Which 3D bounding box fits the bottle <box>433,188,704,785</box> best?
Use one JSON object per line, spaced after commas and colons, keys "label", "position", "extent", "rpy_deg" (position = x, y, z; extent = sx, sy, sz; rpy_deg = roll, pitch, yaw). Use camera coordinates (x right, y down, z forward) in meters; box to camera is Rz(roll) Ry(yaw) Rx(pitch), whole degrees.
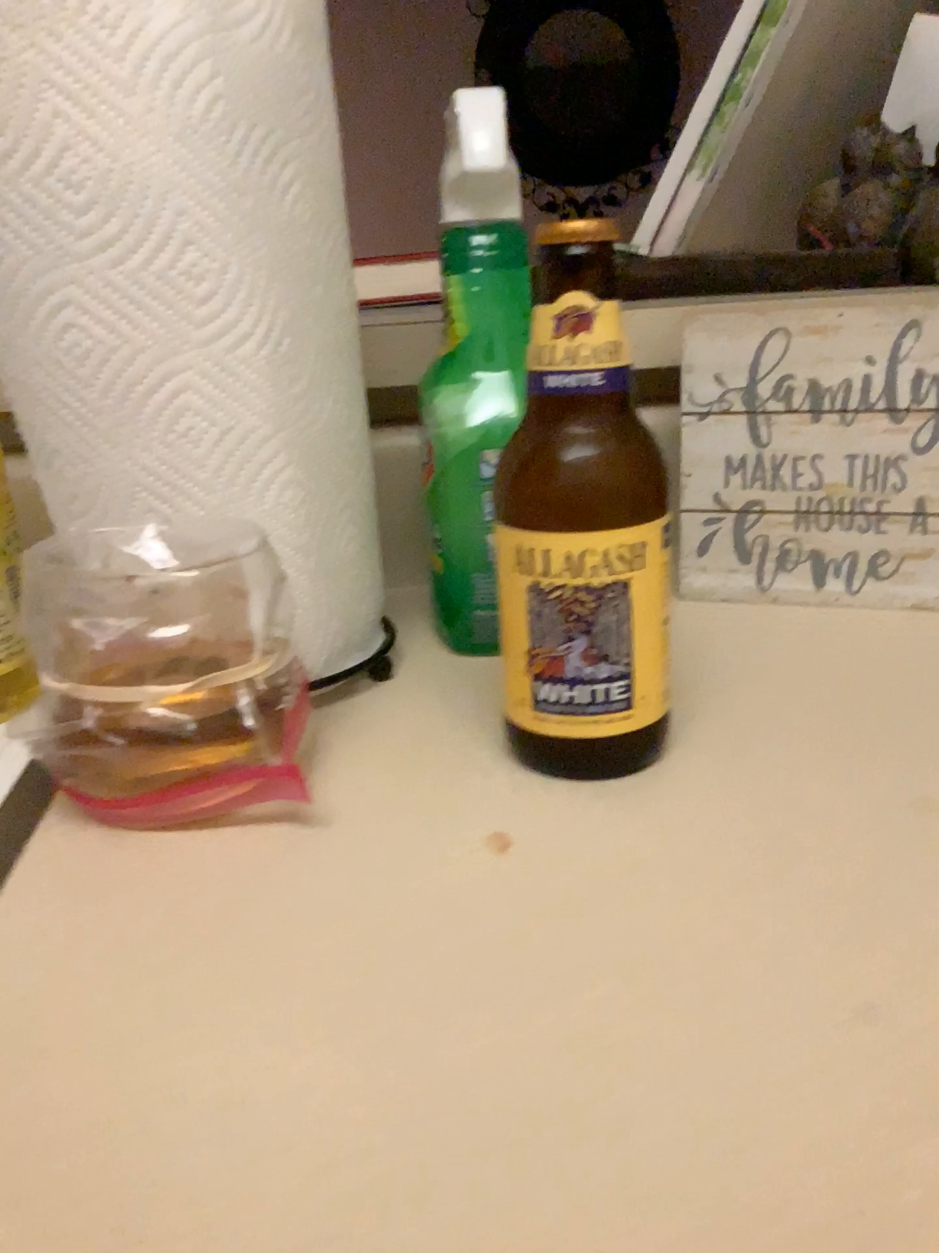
{"label": "bottle", "position": [0.042, -0.048, 0.373], "extent": [0.080, 0.190, 0.080], "rpy_deg": [-3, 18, 1]}
